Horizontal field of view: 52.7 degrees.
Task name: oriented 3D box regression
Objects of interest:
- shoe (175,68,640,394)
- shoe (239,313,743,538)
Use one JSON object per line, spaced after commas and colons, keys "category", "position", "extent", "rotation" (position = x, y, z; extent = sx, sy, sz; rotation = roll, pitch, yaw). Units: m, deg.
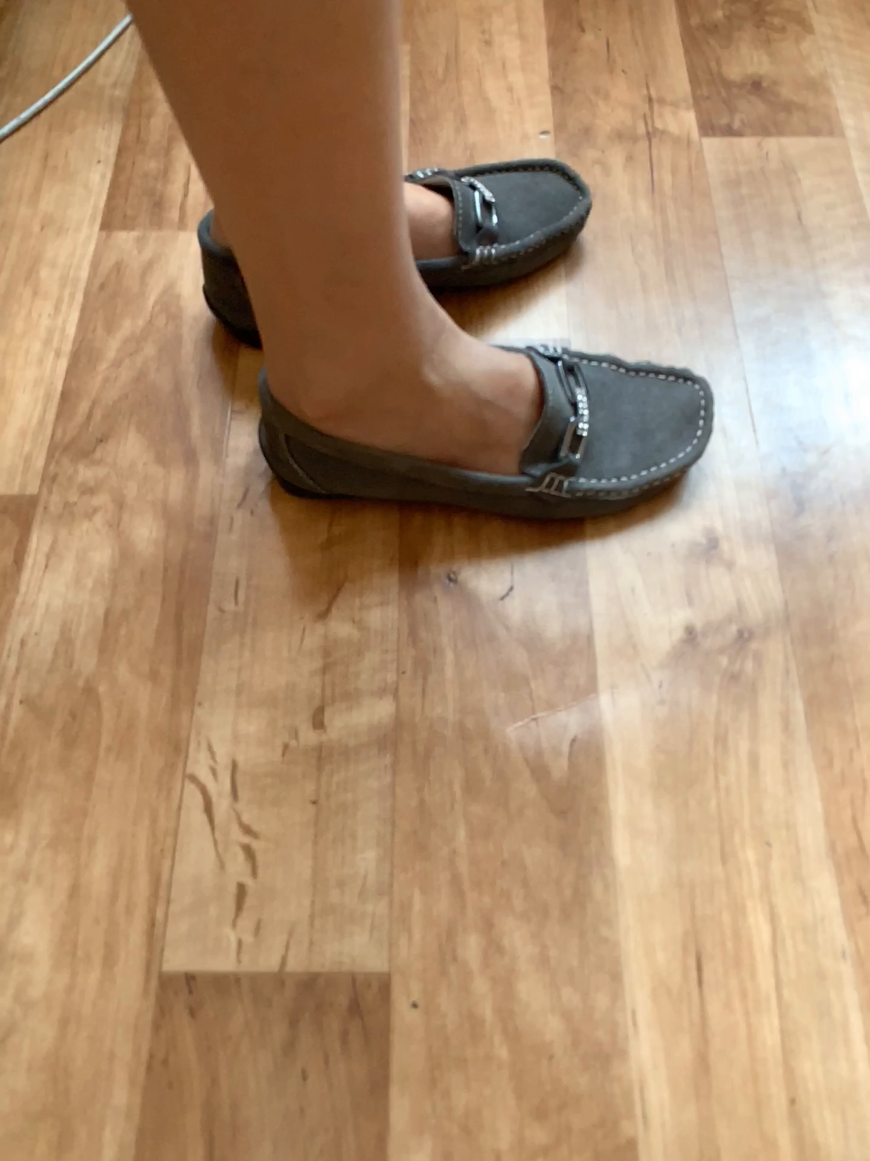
{"category": "shoe", "position": [-0.014, -0.209, 0.517], "extent": [0.240, 0.060, 0.100], "rotation": [-25, 66, -12]}
{"category": "shoe", "position": [0.025, -0.080, 0.462], "extent": [0.240, 0.060, 0.090], "rotation": [-2, 67, -1]}
